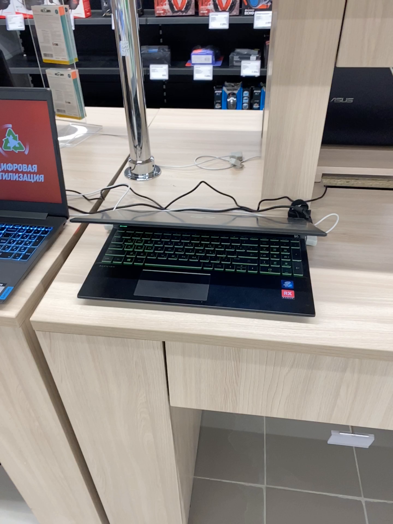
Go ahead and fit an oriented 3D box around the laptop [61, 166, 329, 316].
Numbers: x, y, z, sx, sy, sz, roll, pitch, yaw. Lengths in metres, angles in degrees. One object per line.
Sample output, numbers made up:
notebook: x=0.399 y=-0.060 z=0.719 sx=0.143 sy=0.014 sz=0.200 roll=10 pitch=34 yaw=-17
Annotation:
laptop: x=0.006 y=-0.051 z=0.661 sx=0.364 sy=0.108 sz=0.236 roll=4 pitch=38 yaw=7
